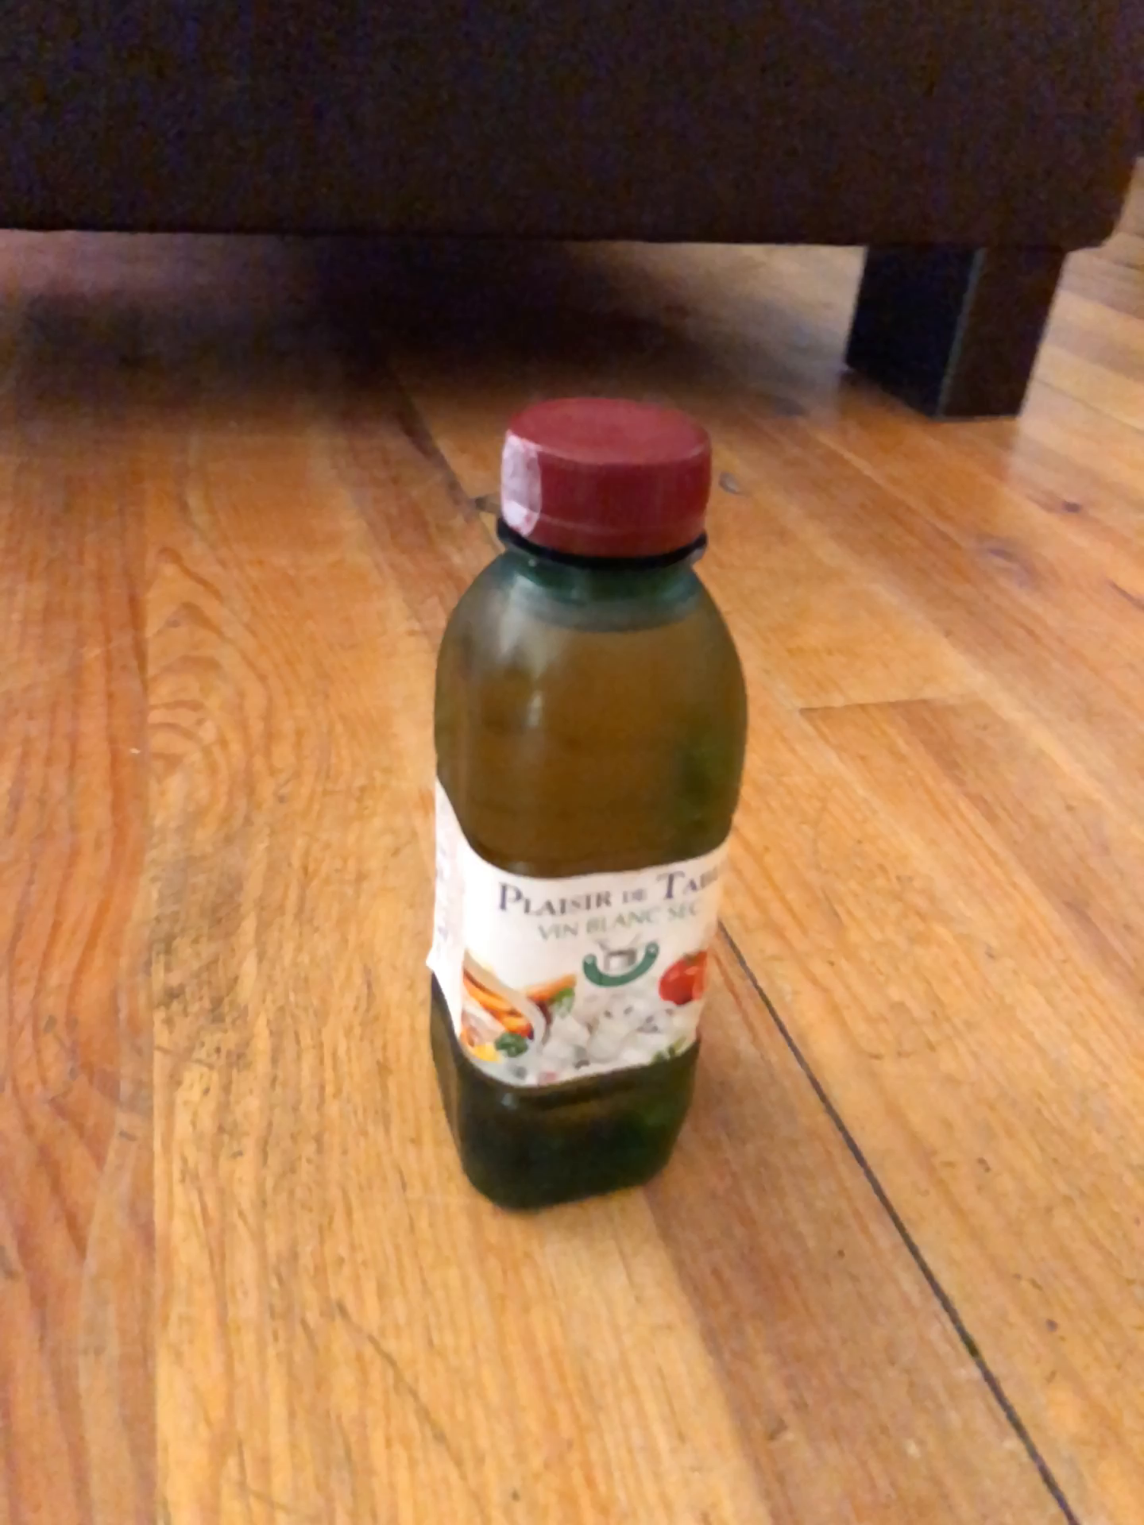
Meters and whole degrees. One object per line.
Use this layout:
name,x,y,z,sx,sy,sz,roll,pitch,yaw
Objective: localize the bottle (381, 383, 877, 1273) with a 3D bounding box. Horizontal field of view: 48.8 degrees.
bottle,0.001,0.015,0.224,0.060,0.149,0.050,-6,33,-17
